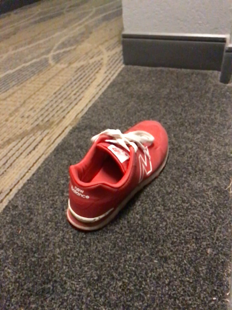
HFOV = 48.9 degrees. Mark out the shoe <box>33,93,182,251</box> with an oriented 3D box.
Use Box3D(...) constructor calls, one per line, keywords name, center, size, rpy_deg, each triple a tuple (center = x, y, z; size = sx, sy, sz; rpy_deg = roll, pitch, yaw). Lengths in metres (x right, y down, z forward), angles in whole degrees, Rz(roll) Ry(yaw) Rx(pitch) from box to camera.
Box3D(name="shoe", center=(0.008, 0.007, 0.429), size=(0.100, 0.107, 0.258), rpy_deg=(20, 46, 29))
